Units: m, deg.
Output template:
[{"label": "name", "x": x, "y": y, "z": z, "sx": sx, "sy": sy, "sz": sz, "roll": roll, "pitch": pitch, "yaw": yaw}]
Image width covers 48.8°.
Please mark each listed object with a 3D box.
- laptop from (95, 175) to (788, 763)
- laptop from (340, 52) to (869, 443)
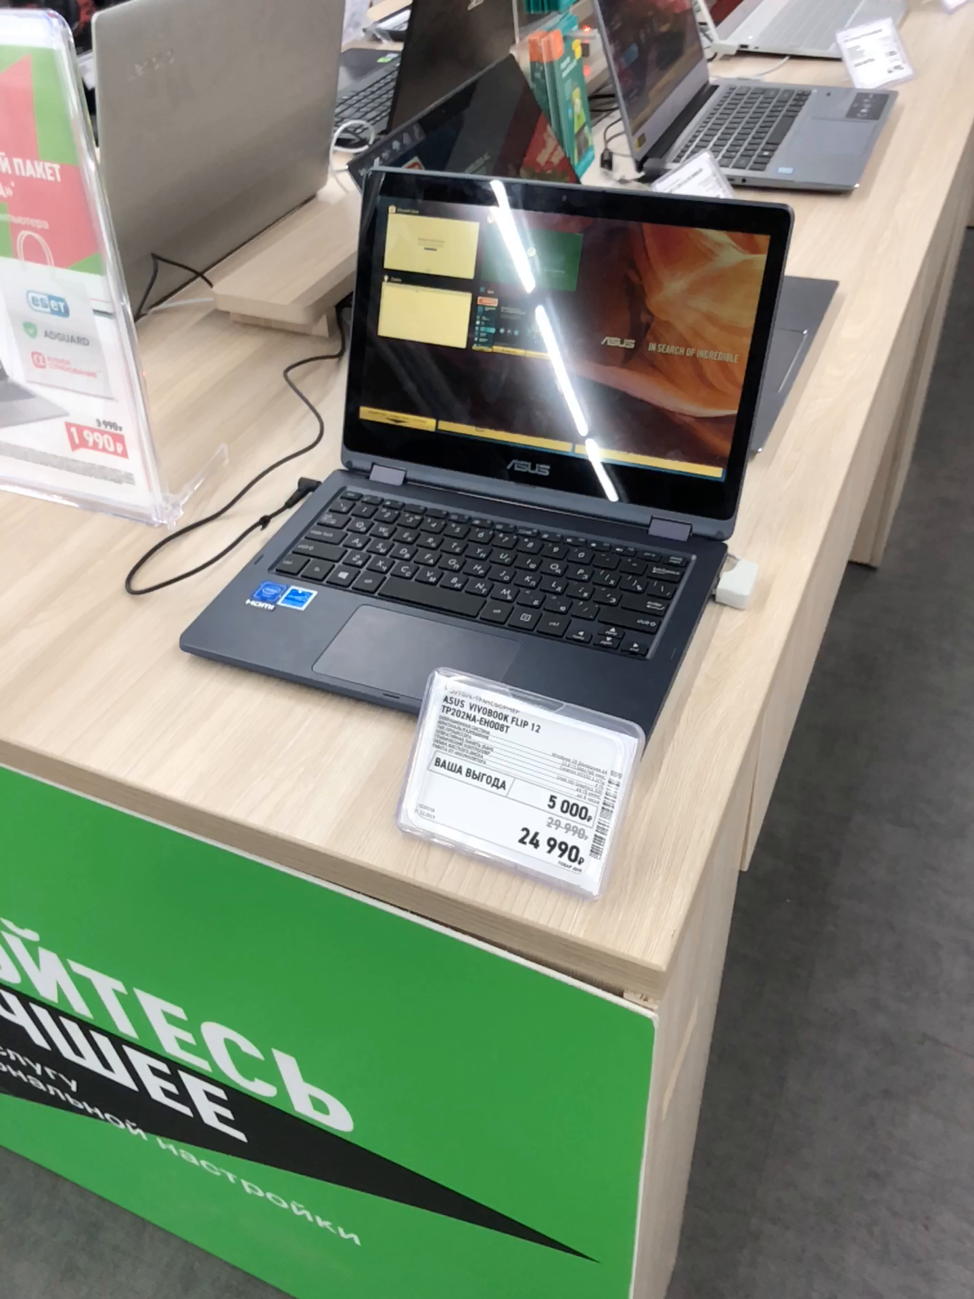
[{"label": "laptop", "x": -0.002, "y": -0.125, "z": 0.615, "sx": 0.269, "sy": 0.166, "sz": 0.281, "roll": 14, "pitch": 45, "yaw": 18}, {"label": "laptop", "x": 0.098, "y": -0.320, "z": 0.817, "sx": 0.299, "sy": 0.162, "sz": 0.262, "roll": 15, "pitch": 46, "yaw": 19}]
